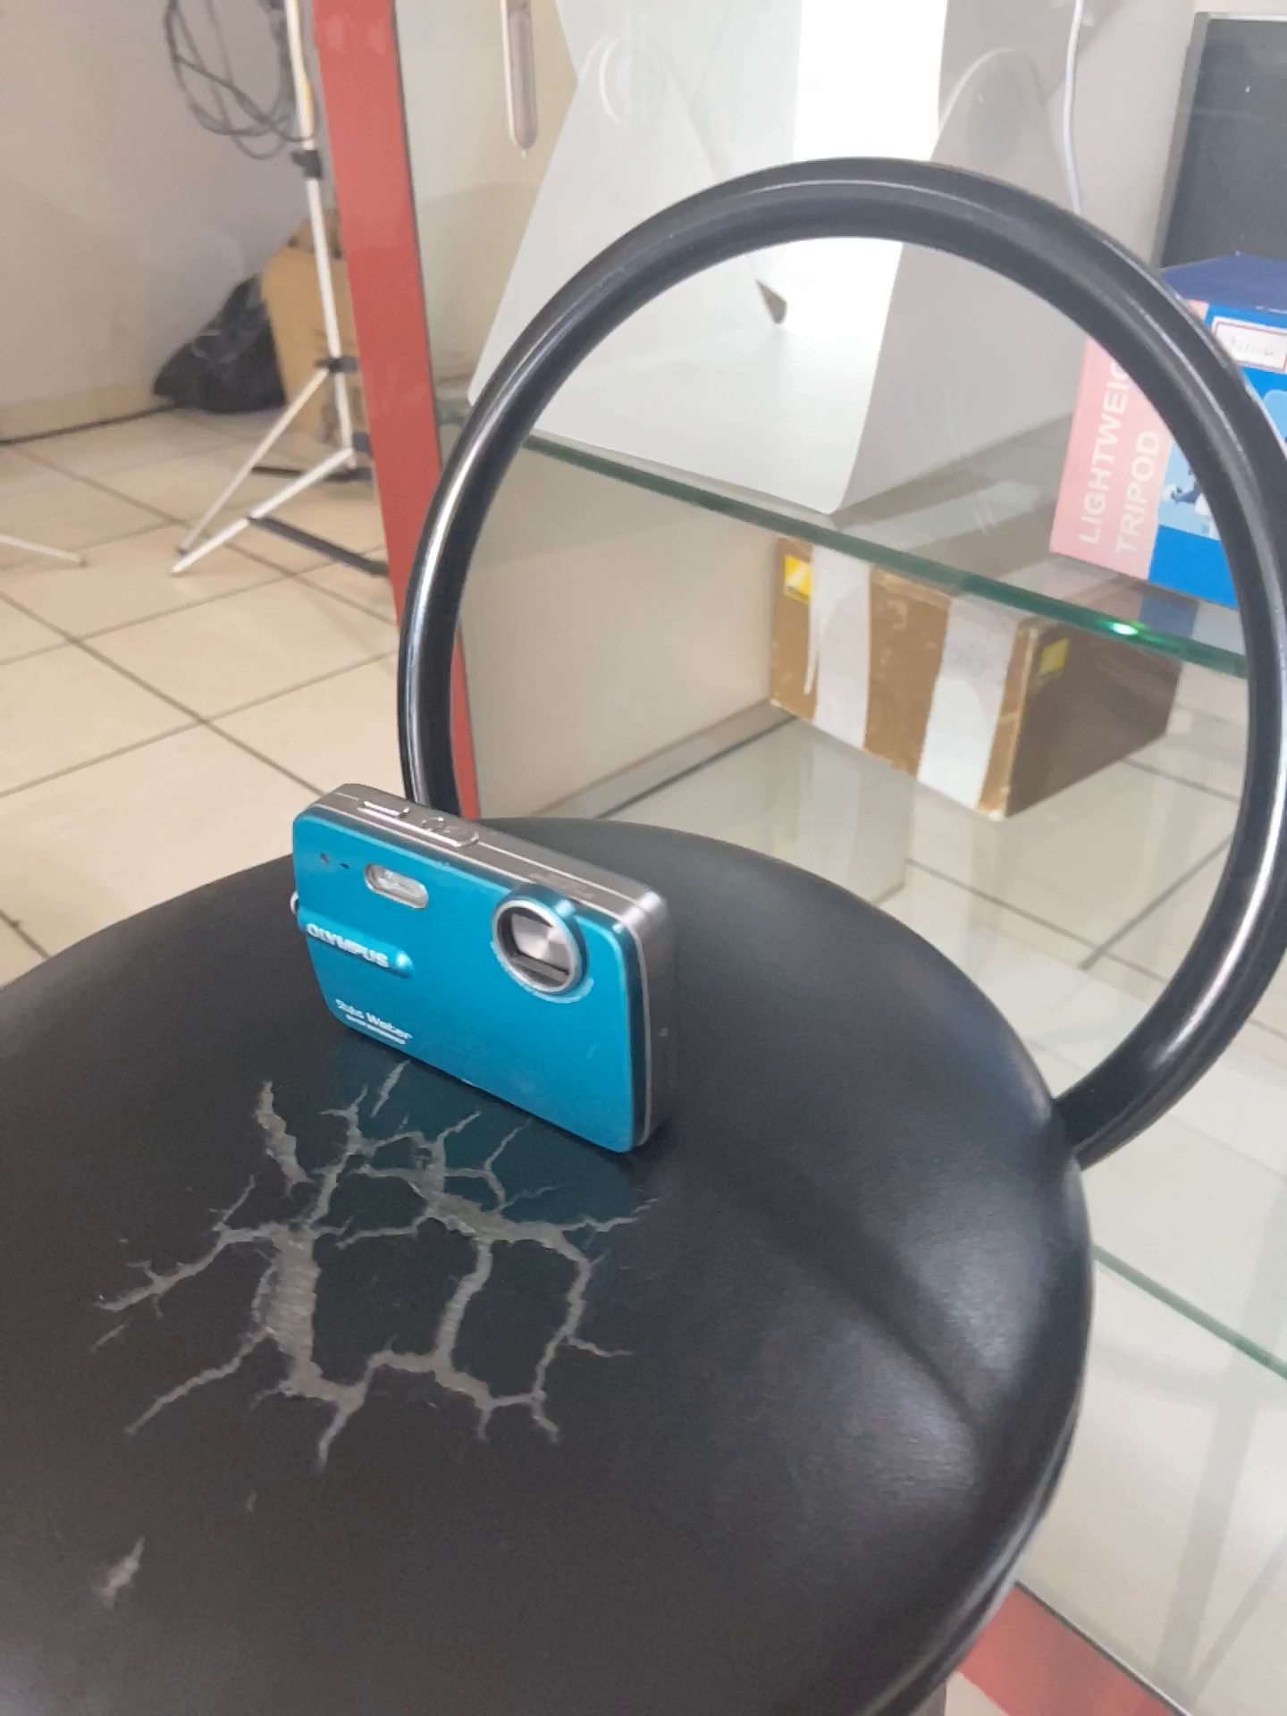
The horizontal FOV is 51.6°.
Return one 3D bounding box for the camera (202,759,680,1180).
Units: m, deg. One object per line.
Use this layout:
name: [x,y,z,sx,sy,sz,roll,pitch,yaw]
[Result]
camera: [-0.043,0.020,0.279,0.100,0.050,0.030,19,38,29]
